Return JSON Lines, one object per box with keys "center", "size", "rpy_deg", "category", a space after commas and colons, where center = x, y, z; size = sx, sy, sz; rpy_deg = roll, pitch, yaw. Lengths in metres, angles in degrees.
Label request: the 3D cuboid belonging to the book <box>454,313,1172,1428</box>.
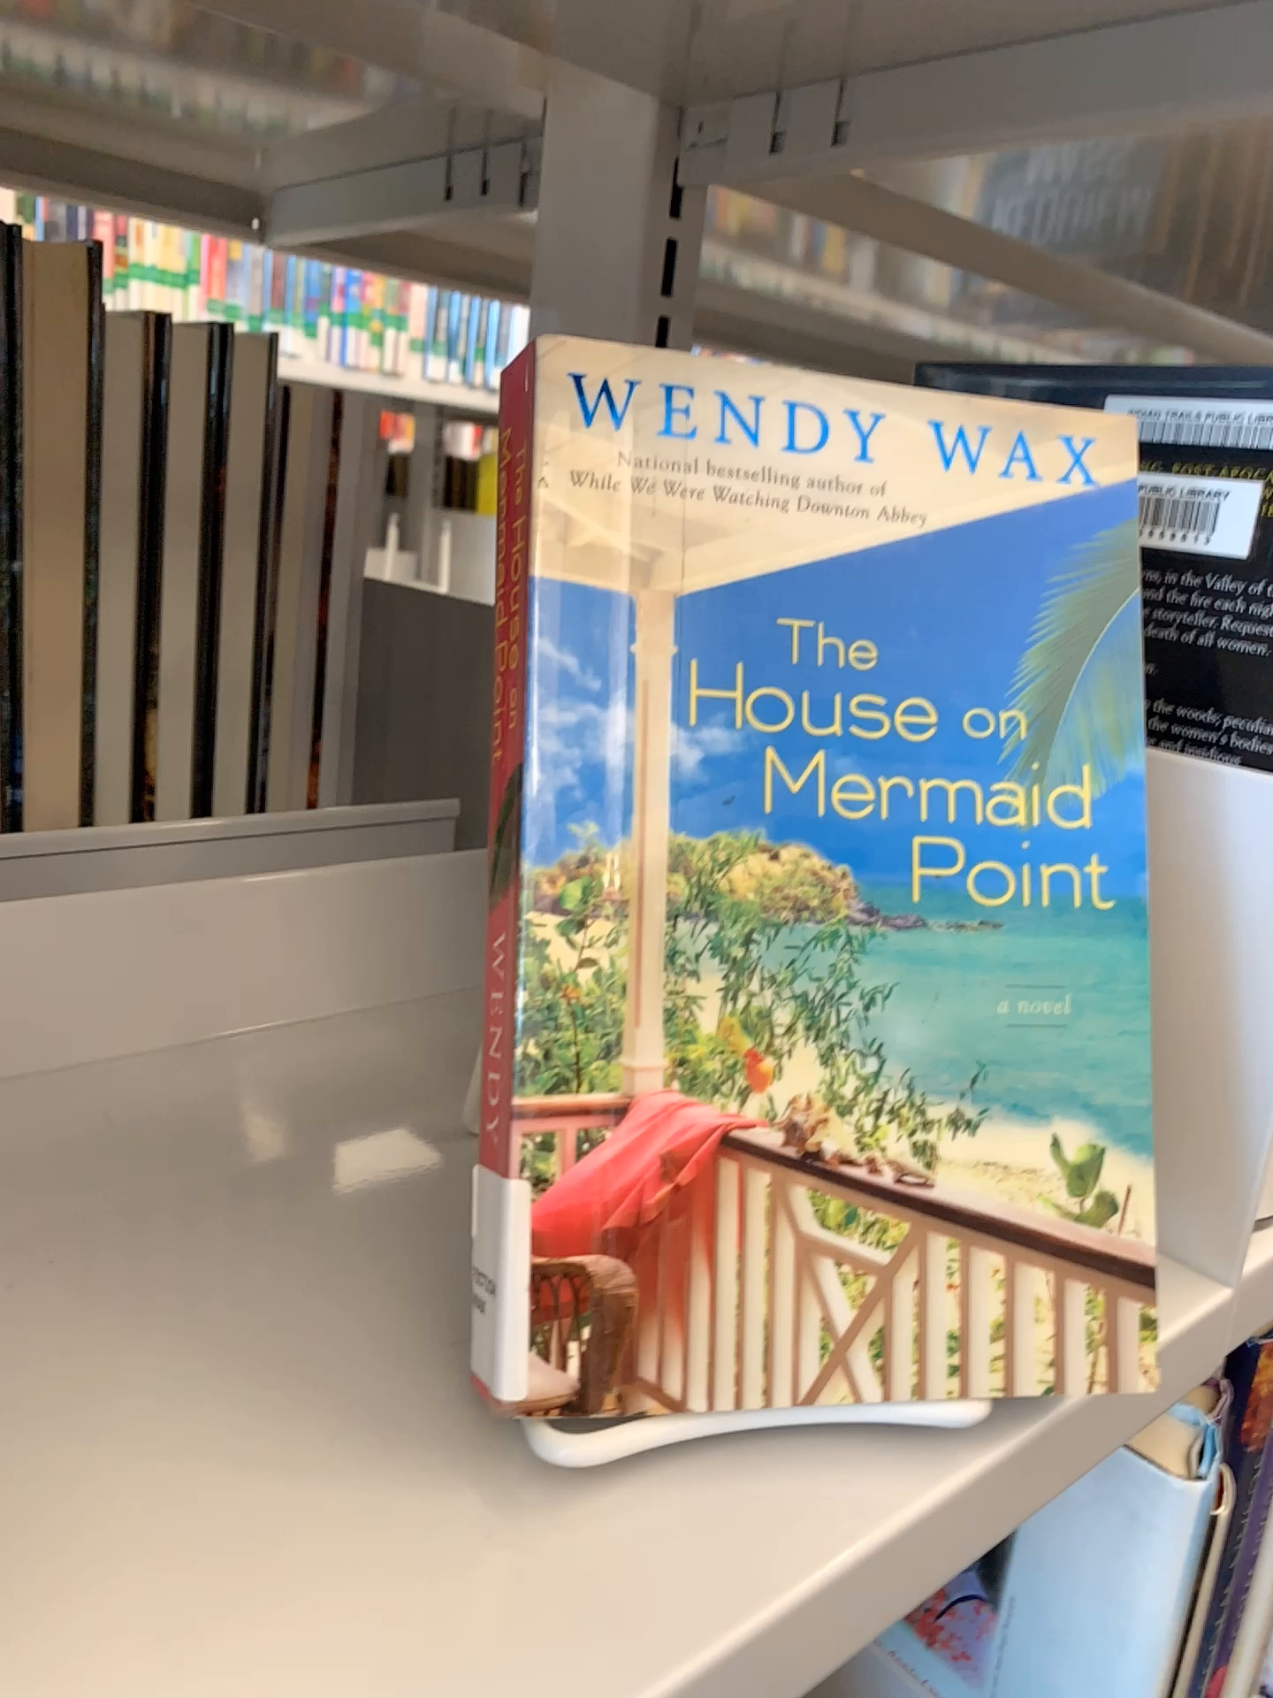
{"center": [0.035, 0.004, 0.263], "size": [0.131, 0.193, 0.043], "rpy_deg": [2, -5, -12], "category": "book"}
